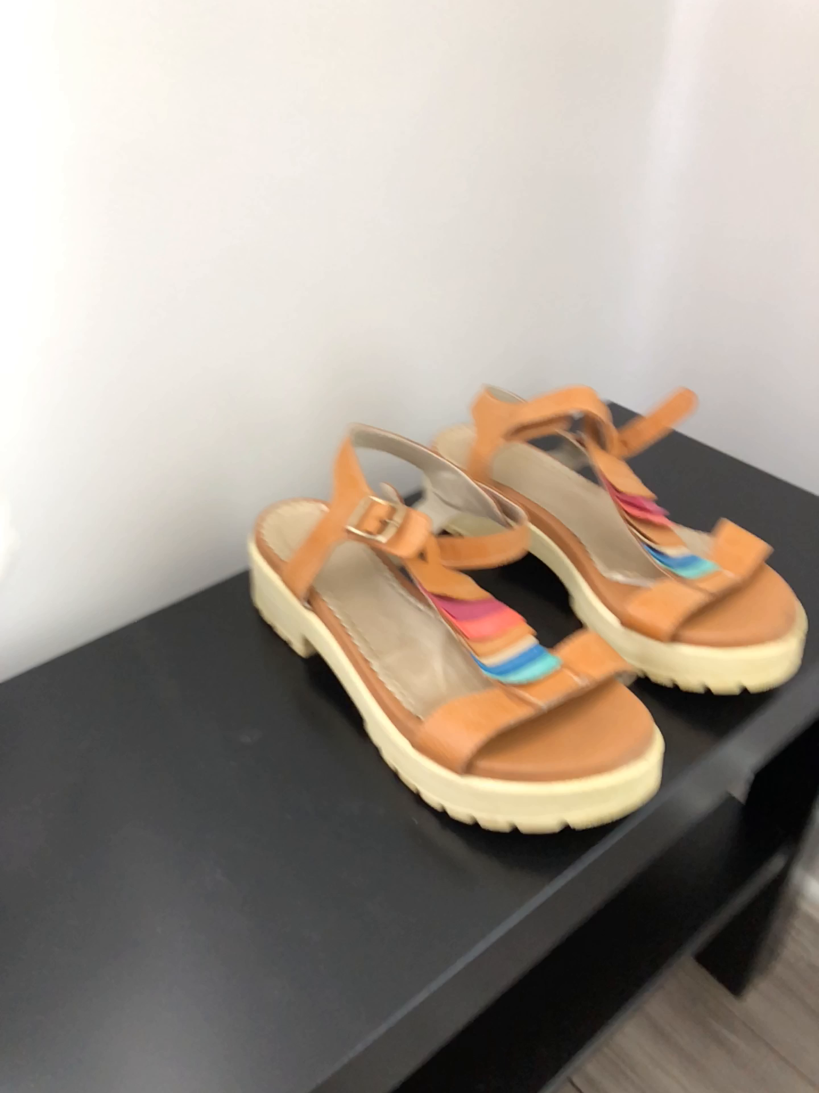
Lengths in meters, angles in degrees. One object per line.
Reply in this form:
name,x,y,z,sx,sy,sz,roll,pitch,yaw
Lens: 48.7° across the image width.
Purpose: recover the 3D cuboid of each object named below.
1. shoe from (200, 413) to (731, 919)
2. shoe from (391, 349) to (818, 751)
shoe,0.009,0.035,0.429,0.100,0.083,0.248,-25,43,-30
shoe,0.105,-0.016,0.483,0.100,0.077,0.248,-25,43,-30
